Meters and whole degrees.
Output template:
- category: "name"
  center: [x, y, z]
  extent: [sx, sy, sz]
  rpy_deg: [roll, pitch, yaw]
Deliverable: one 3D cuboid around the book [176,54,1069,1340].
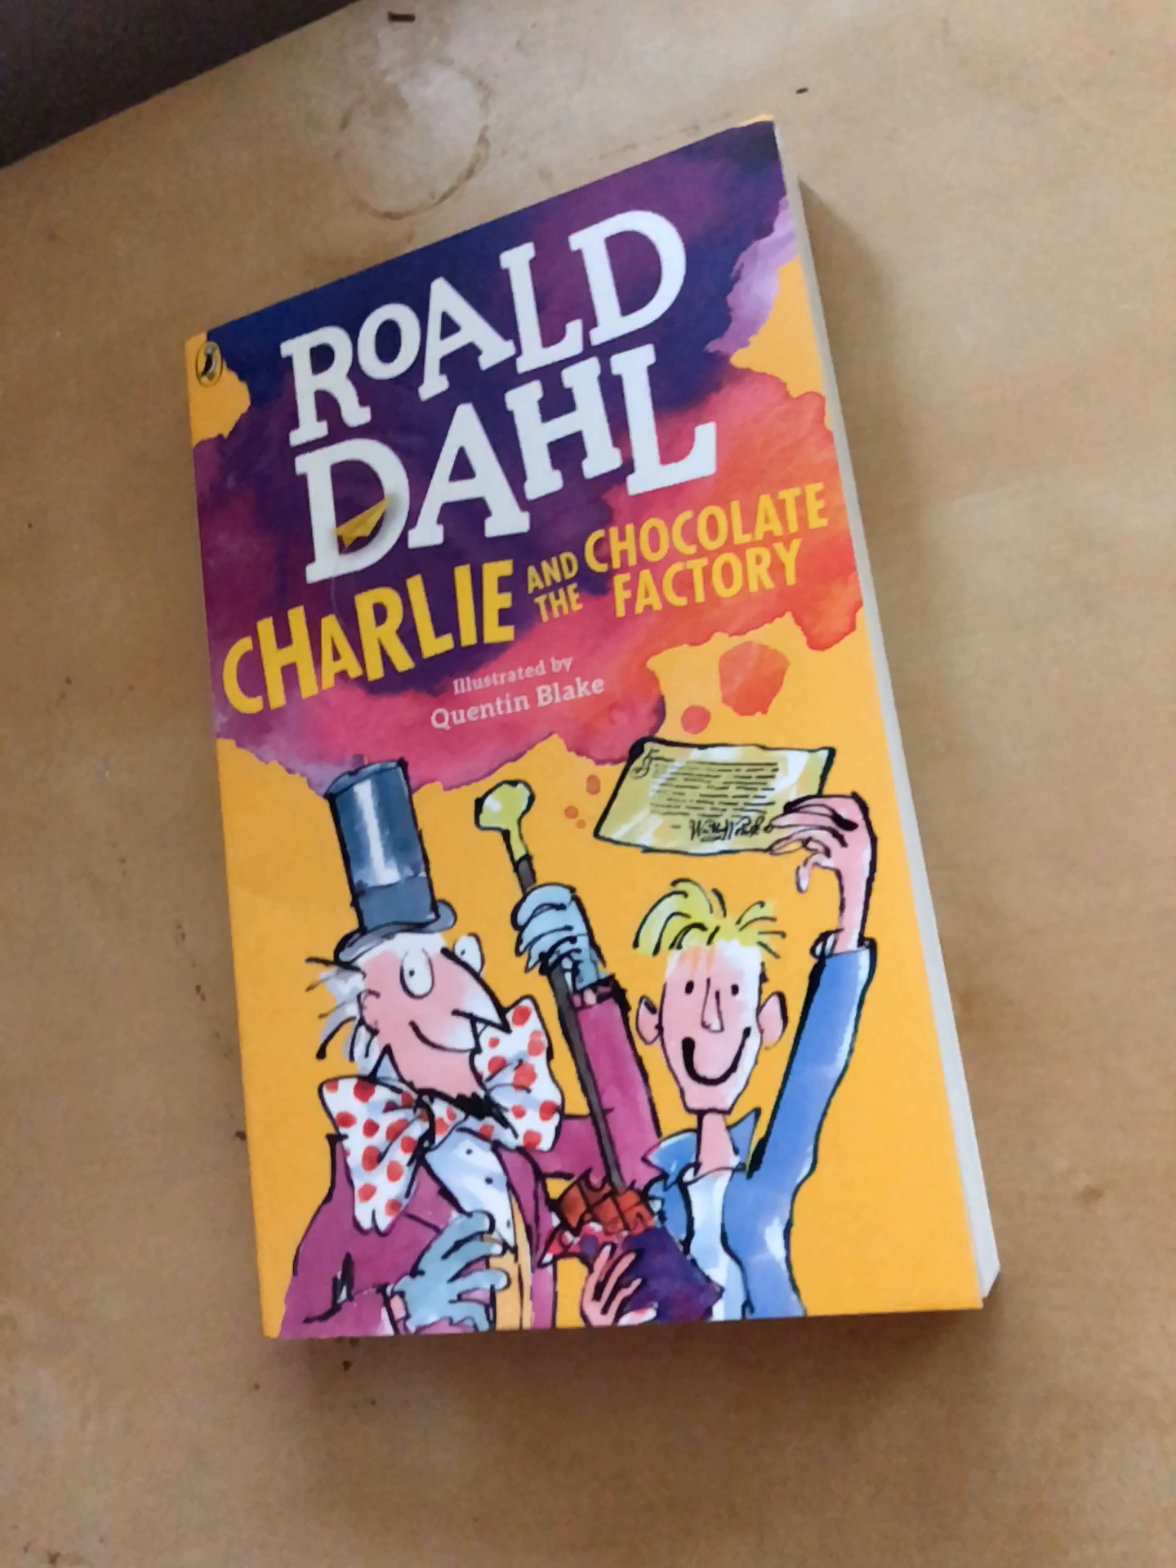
- category: "book"
  center: [-0.002, -0.011, 0.243]
  extent: [0.134, 0.040, 0.201]
  rpy_deg: [-12, 78, 20]
